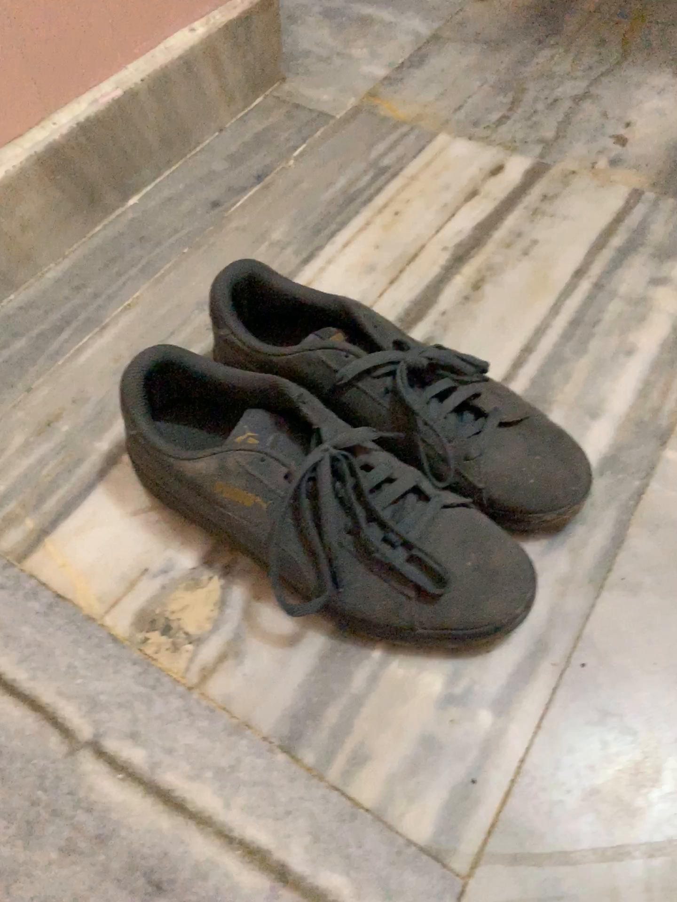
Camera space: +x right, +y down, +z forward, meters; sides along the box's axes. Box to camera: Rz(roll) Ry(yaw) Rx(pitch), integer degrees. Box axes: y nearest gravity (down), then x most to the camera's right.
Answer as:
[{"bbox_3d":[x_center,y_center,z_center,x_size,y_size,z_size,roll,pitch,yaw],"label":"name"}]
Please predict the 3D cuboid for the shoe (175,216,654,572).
[{"bbox_3d":[0.042,-0.050,0.488,0.291,0.100,0.110,27,60,21],"label":"shoe"}]

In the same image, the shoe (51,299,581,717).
[{"bbox_3d":[-0.020,0.025,0.436,0.291,0.100,0.110,27,60,21],"label":"shoe"}]
